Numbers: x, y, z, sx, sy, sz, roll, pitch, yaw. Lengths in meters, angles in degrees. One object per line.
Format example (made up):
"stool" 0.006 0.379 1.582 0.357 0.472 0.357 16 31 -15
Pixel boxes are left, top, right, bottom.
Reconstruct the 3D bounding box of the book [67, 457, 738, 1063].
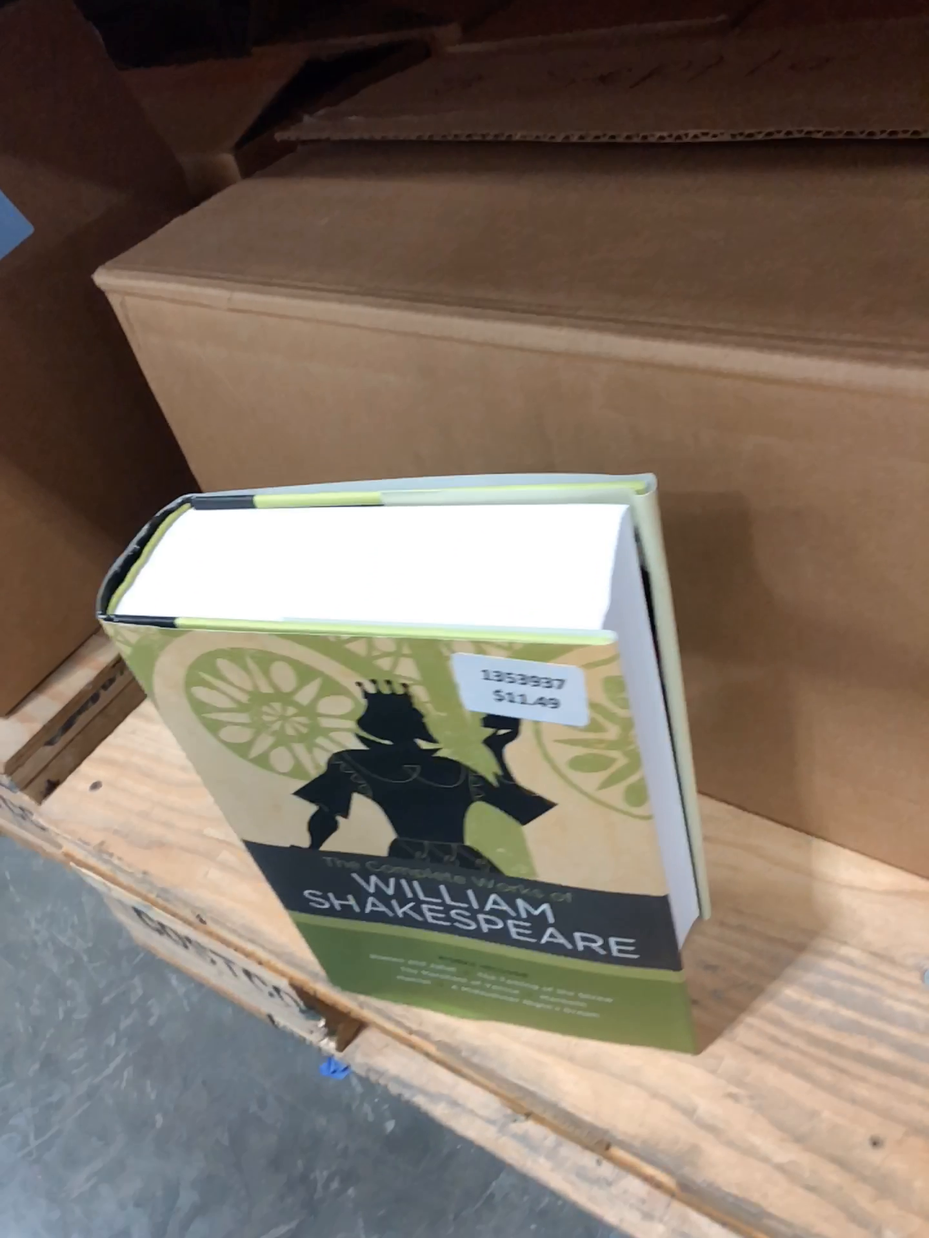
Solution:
"book" -0.001 0.062 0.395 0.181 0.239 0.080 2 45 22
